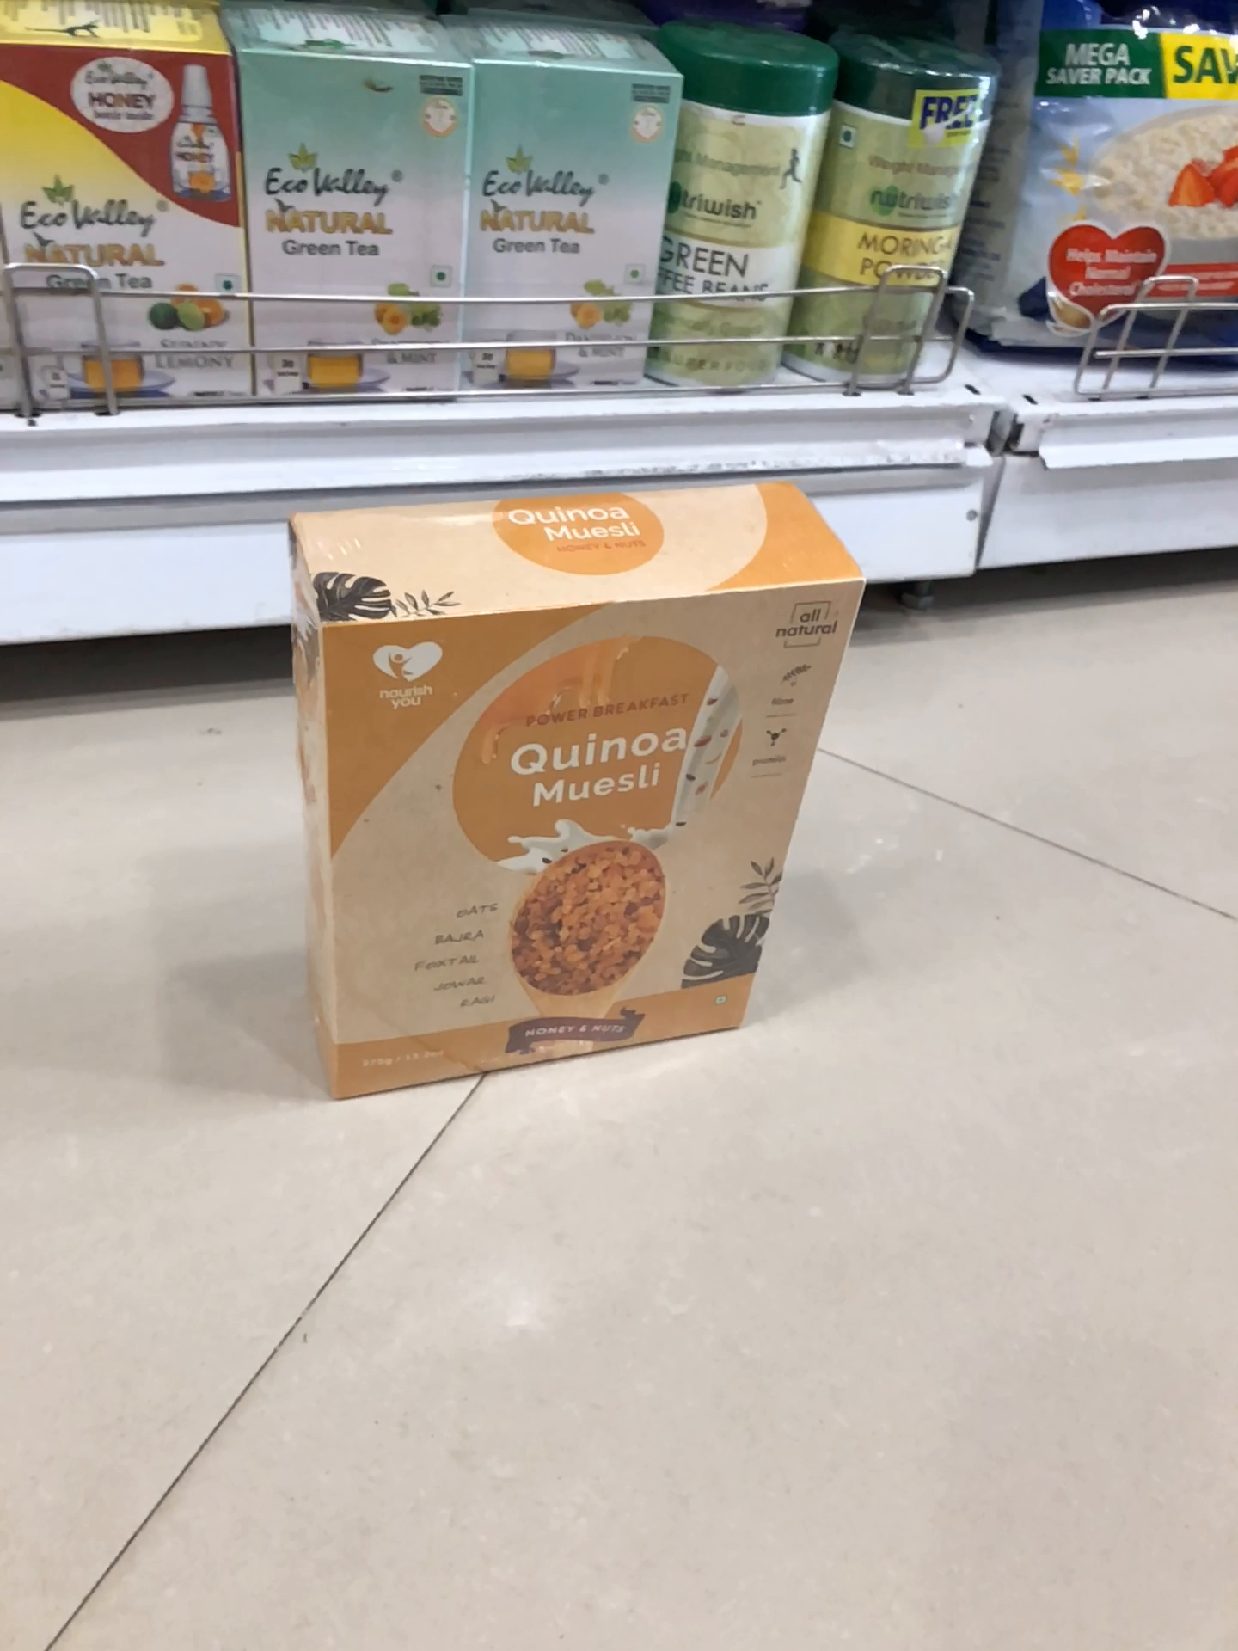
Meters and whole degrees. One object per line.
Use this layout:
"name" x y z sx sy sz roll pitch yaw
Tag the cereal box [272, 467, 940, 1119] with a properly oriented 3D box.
"cereal box" -0.014 -0.005 0.434 0.170 0.199 0.060 -7 44 -17
